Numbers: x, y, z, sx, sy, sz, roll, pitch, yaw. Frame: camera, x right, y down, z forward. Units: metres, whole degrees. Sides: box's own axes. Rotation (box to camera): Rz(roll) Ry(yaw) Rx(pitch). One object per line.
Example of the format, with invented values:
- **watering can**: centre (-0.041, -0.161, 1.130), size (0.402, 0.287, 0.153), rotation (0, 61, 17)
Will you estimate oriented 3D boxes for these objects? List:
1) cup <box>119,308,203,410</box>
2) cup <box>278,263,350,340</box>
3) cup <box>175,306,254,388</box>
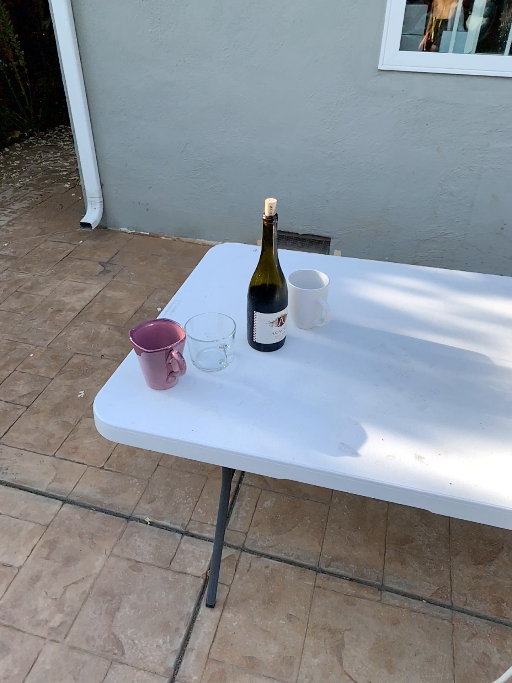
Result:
- **cup**: centre (-0.174, 0.028, 0.963), size (0.100, 0.109, 0.131), rotation (-19, 40, -26)
- **cup**: centre (0.119, -0.087, 1.108), size (0.090, 0.099, 0.121), rotation (-19, 40, -26)
- **cup**: centre (-0.082, 0.007, 1.025), size (0.100, 0.079, 0.131), rotation (-19, 40, -26)
